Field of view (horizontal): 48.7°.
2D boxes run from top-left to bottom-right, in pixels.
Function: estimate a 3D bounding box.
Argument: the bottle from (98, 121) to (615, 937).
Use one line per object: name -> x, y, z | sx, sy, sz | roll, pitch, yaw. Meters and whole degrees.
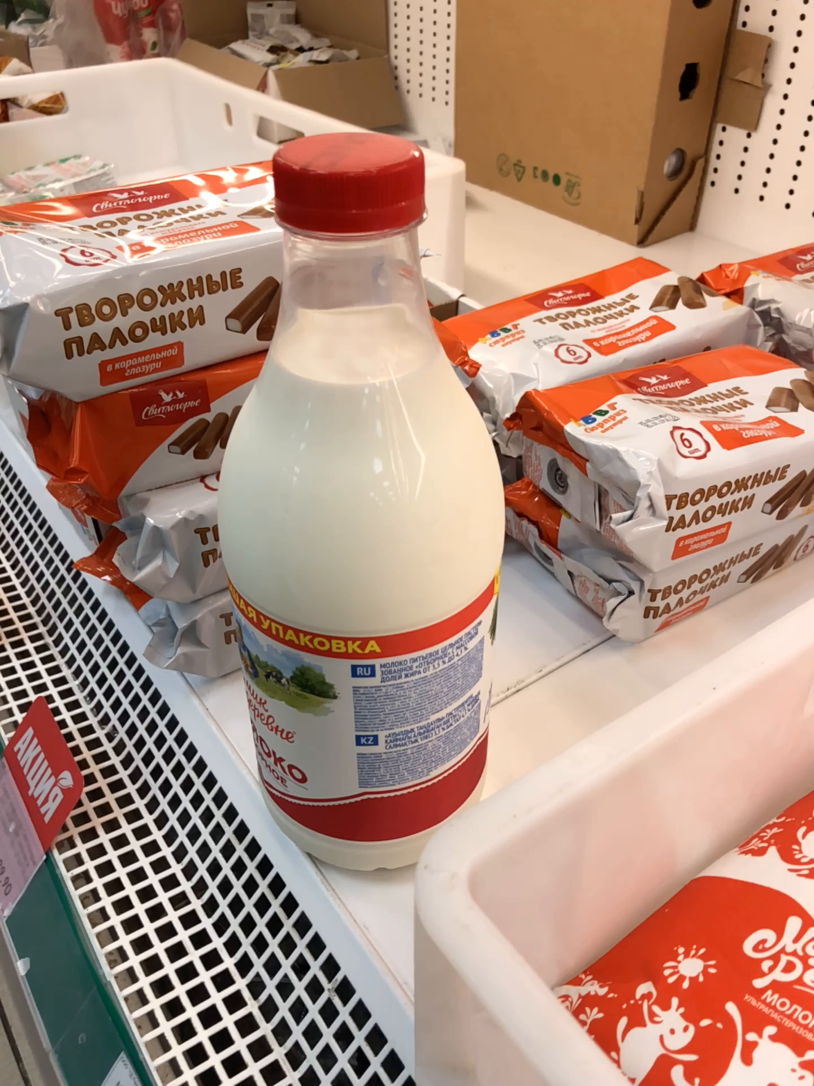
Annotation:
bottle -> -0.015, 0.004, 0.312 | 0.100, 0.249, 0.100 | -1, 37, 0
